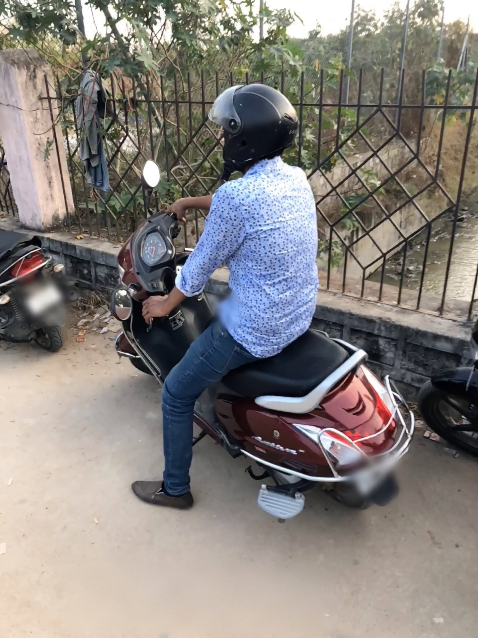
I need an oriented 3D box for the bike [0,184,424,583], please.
[{"bbox_3d":[-0.196,0.106,2.091,1.490,0.963,0.578,21,33,36],"label":"bike"}]
